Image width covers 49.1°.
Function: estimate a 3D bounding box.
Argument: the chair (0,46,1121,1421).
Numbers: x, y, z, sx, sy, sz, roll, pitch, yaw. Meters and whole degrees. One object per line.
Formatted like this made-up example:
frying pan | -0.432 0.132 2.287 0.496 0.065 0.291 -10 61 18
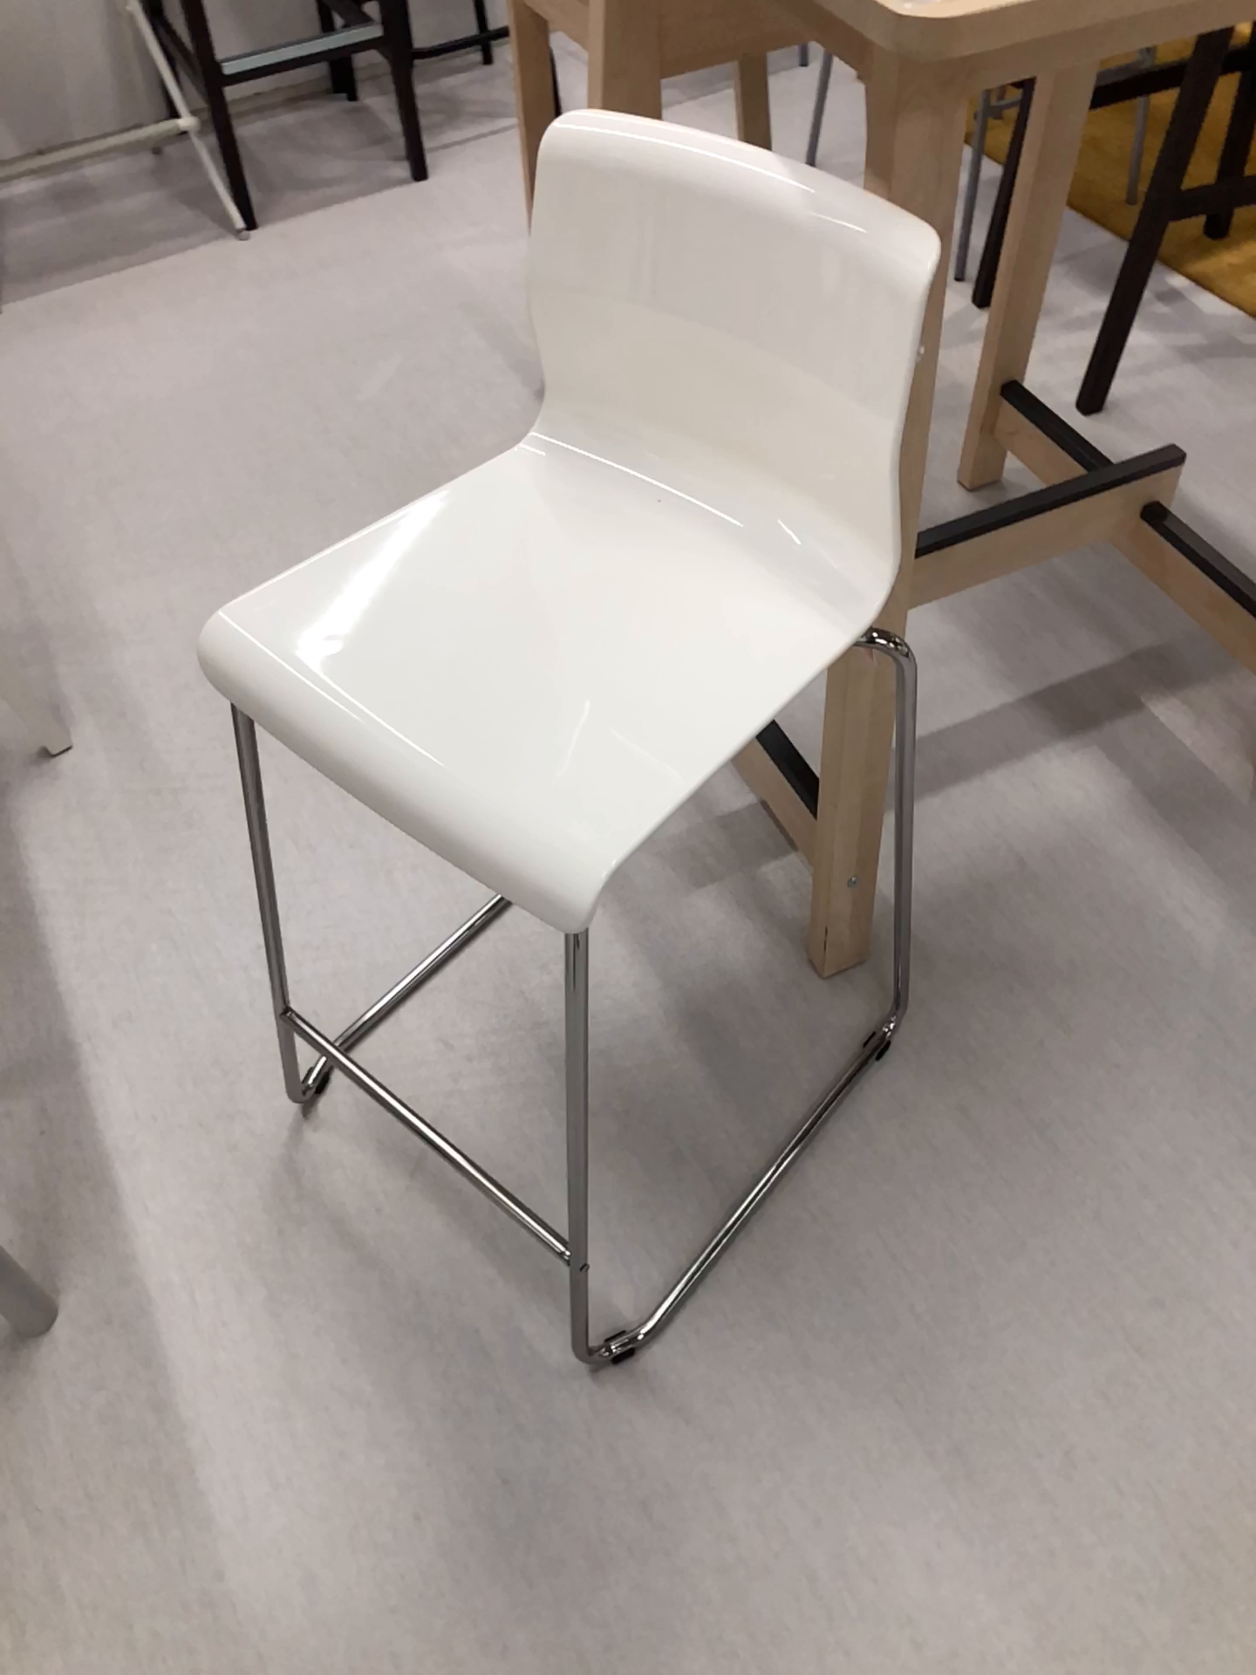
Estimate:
chair | -0.057 -0.043 1.111 0.501 0.825 0.552 31 59 26
